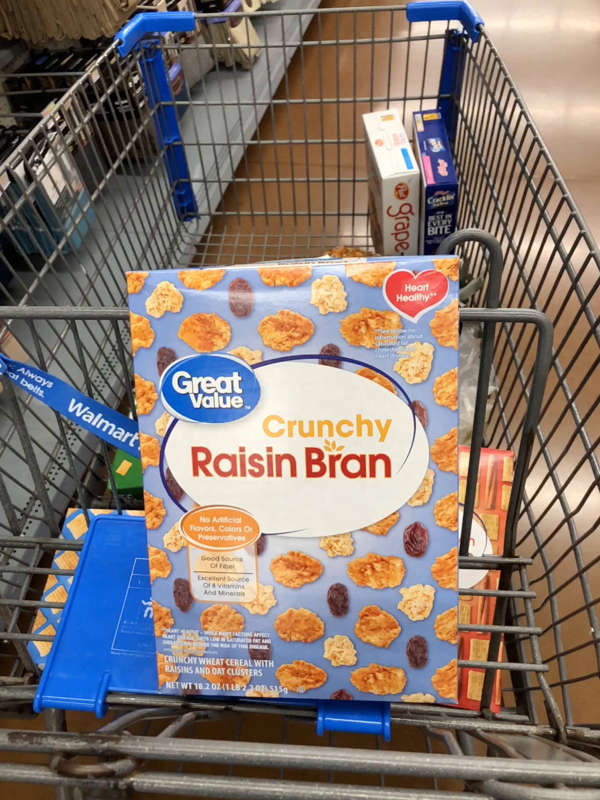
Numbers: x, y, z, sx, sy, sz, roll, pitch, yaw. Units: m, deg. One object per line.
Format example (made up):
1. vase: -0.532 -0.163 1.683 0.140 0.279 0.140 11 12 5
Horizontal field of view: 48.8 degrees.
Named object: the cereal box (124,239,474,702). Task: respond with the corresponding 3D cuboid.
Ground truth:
1. cereal box: 0.003 0.044 0.433 0.200 0.280 0.070 -1 9 5
